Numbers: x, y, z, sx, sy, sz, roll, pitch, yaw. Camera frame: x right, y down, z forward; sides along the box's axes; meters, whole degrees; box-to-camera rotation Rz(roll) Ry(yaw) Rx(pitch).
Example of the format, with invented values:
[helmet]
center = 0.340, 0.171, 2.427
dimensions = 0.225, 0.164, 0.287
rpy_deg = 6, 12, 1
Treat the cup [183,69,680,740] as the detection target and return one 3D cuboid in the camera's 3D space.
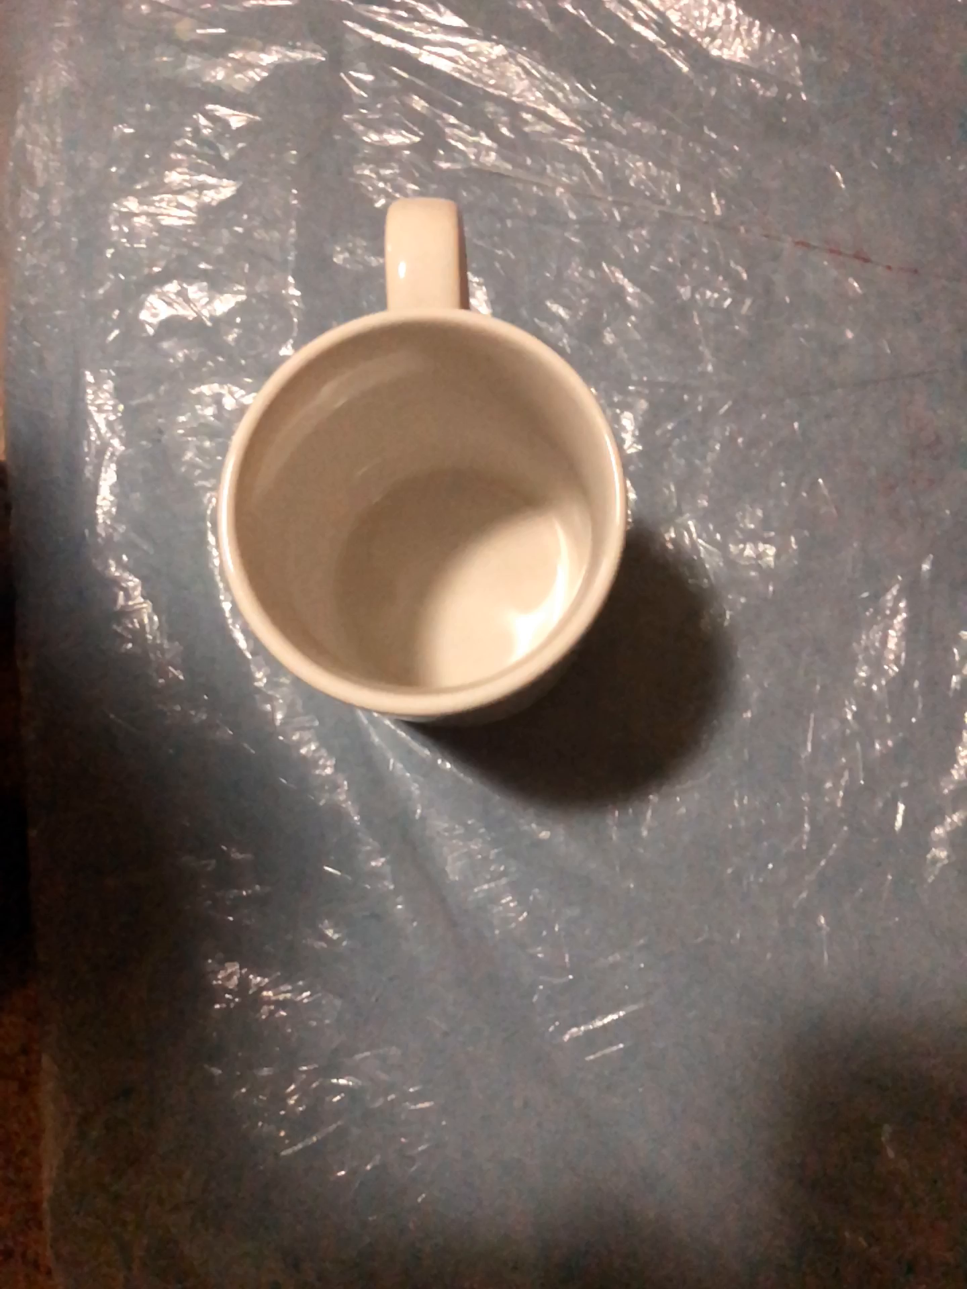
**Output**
[cup]
center = -0.011, -0.047, 0.278
dimensions = 0.100, 0.110, 0.140
rpy_deg = -1, 84, 0
